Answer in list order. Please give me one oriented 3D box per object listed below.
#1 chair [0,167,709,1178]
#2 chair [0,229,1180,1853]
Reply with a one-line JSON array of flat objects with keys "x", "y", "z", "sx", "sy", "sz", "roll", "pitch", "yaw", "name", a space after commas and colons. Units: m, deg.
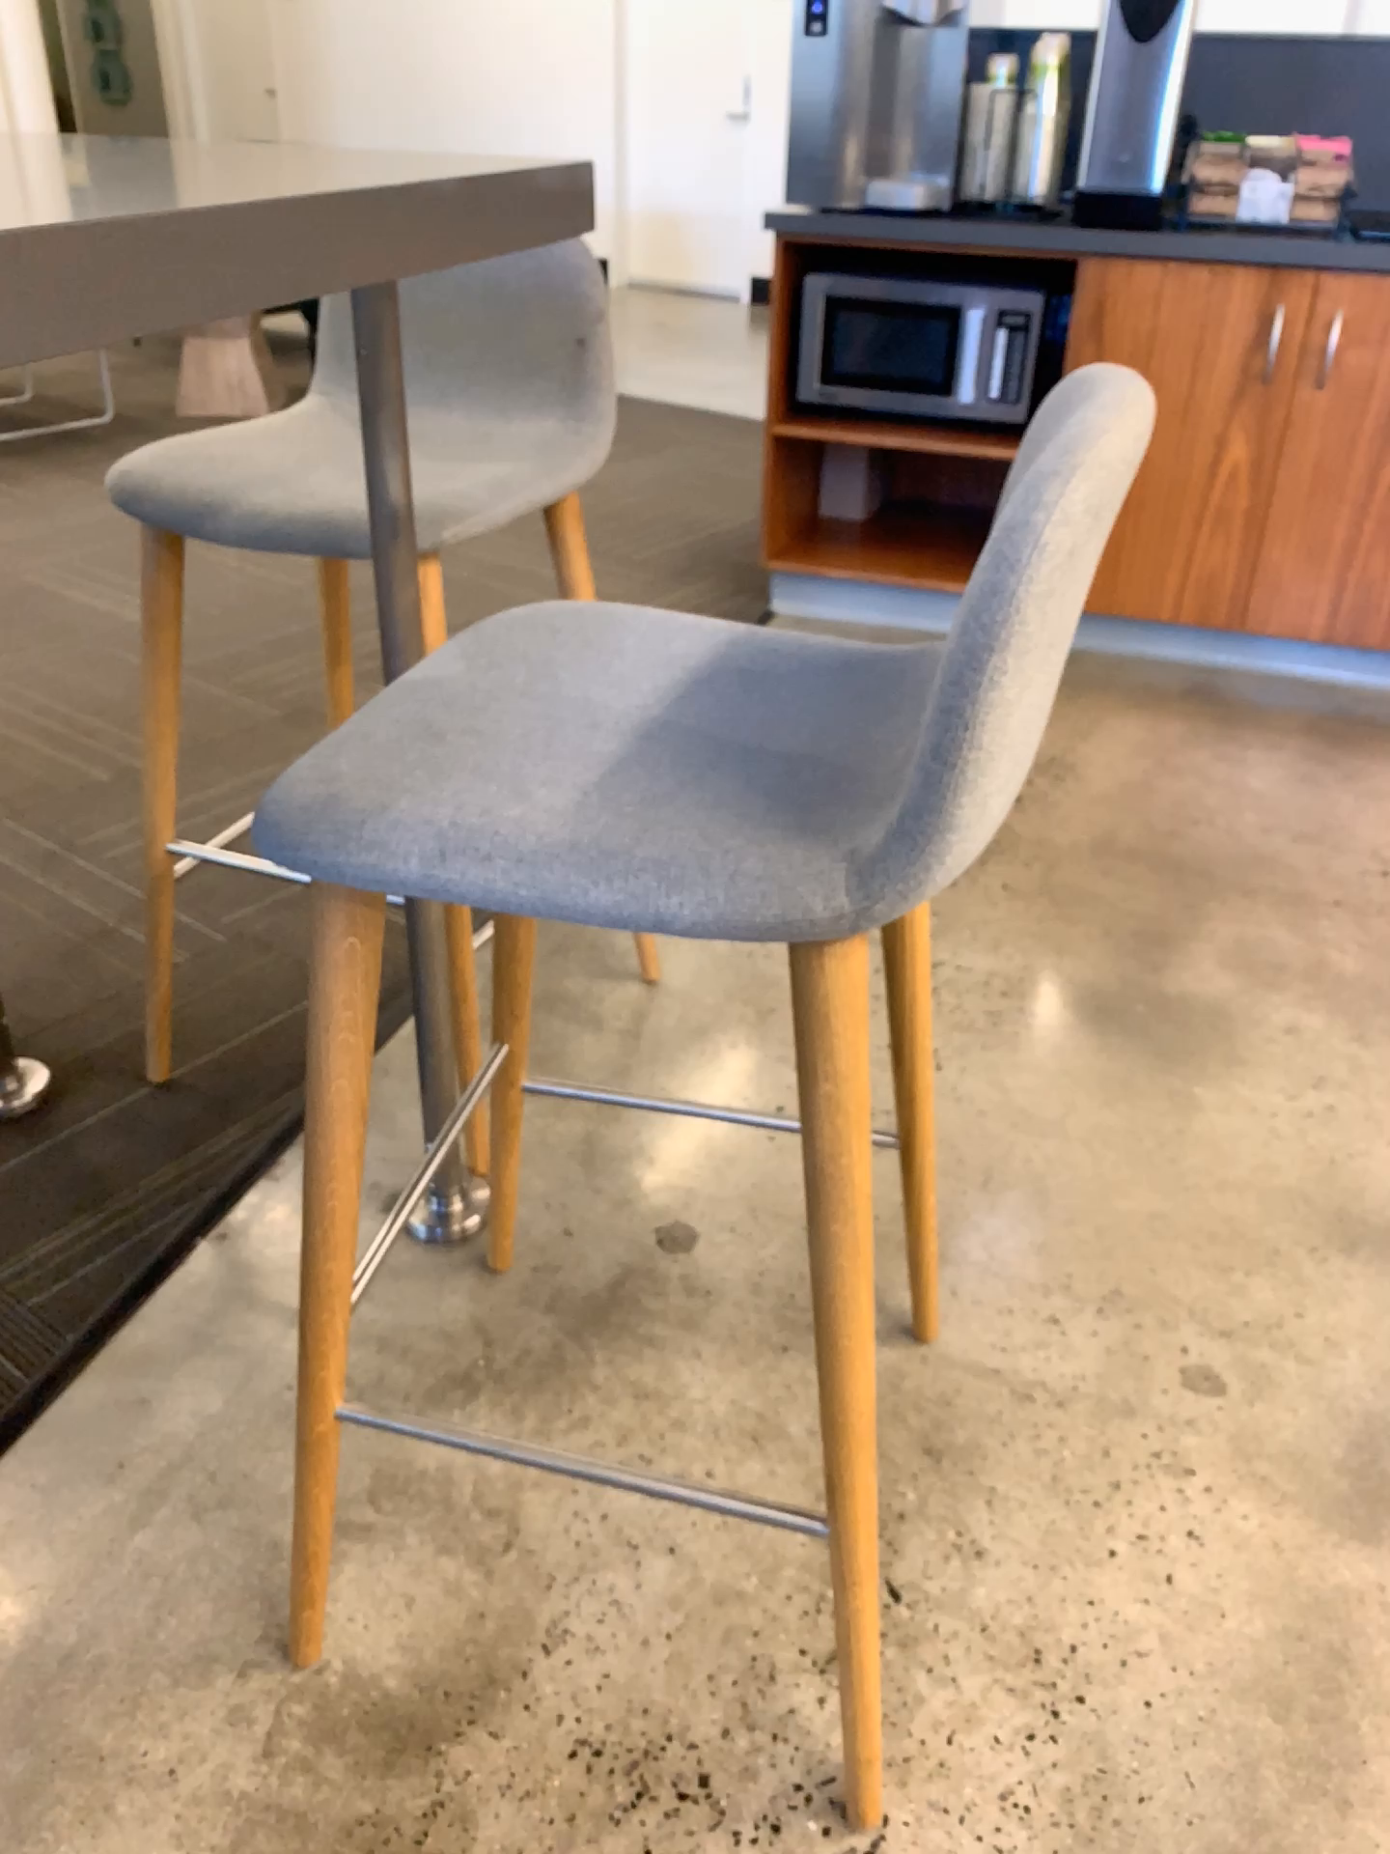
[{"x": -0.431, "y": -0.336, "z": 1.718, "sx": 0.711, "sy": 0.964, "sz": 0.542, "roll": 14, "pitch": 32, "yaw": 19, "name": "chair"}, {"x": -0.022, "y": 0.051, "z": 1.074, "sx": 0.540, "sy": 0.964, "sz": 0.593, "roll": 9, "pitch": 31, "yaw": 12, "name": "chair"}]
